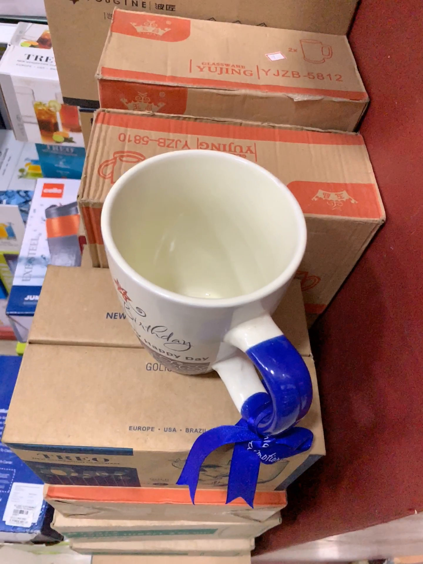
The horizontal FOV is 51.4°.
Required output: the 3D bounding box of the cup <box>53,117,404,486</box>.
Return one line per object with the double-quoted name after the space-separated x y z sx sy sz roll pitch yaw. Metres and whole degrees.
-0.003 0.005 0.214 0.092 0.086 0.132 -21 60 -19 "cup"
